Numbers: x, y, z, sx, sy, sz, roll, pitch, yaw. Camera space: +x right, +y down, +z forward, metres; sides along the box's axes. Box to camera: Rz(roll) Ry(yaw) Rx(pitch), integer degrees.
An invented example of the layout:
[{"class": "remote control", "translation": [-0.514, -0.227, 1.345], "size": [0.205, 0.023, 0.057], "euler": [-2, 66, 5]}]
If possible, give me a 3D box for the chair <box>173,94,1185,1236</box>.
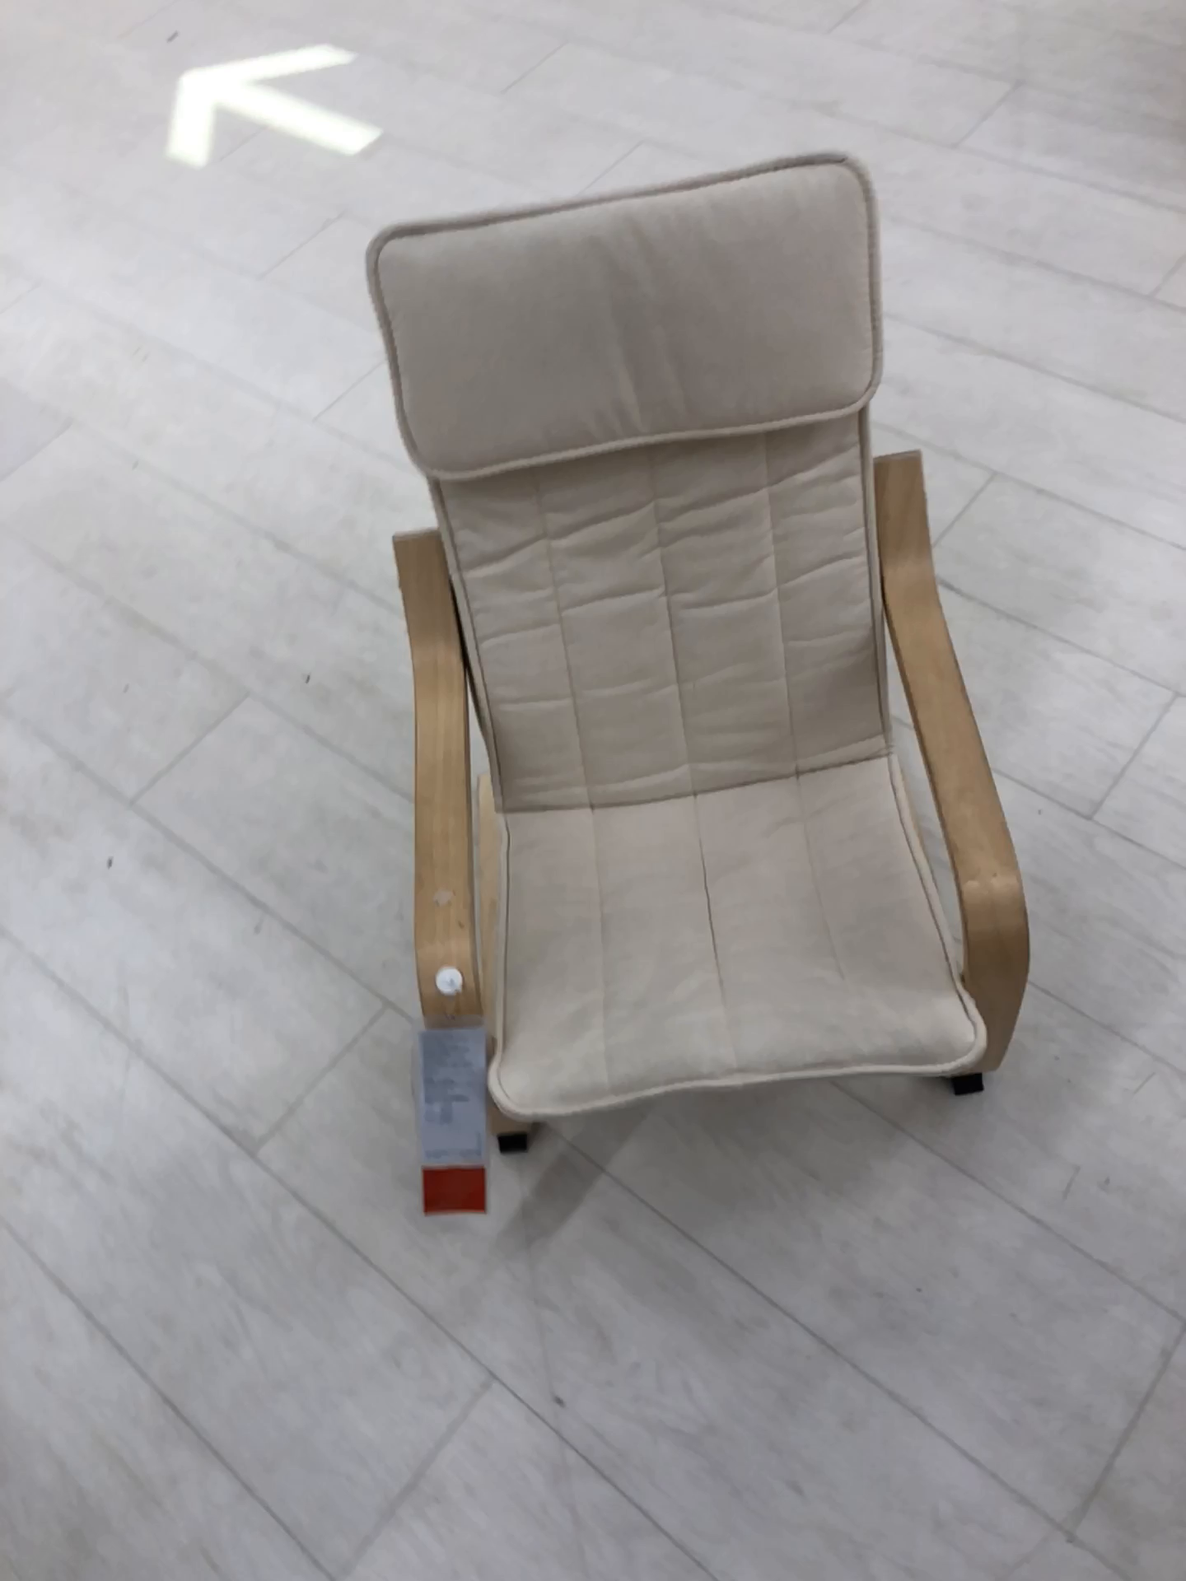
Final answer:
[{"class": "chair", "translation": [0.068, -0.044, 1.086], "size": [0.530, 0.688, 0.561], "euler": [-9, 55, 3]}]
